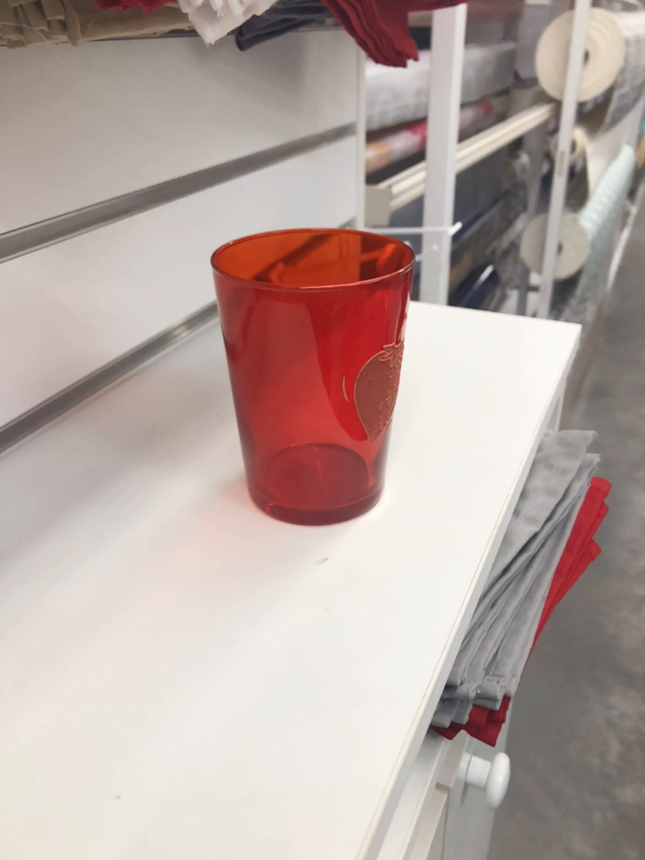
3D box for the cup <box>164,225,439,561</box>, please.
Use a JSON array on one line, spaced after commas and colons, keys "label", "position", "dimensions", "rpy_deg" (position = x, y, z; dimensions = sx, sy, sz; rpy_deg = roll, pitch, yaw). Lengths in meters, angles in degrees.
[{"label": "cup", "position": [-0.005, -0.023, 0.346], "dimensions": [0.091, 0.120, 0.092], "rpy_deg": [0, 29, 0]}]
